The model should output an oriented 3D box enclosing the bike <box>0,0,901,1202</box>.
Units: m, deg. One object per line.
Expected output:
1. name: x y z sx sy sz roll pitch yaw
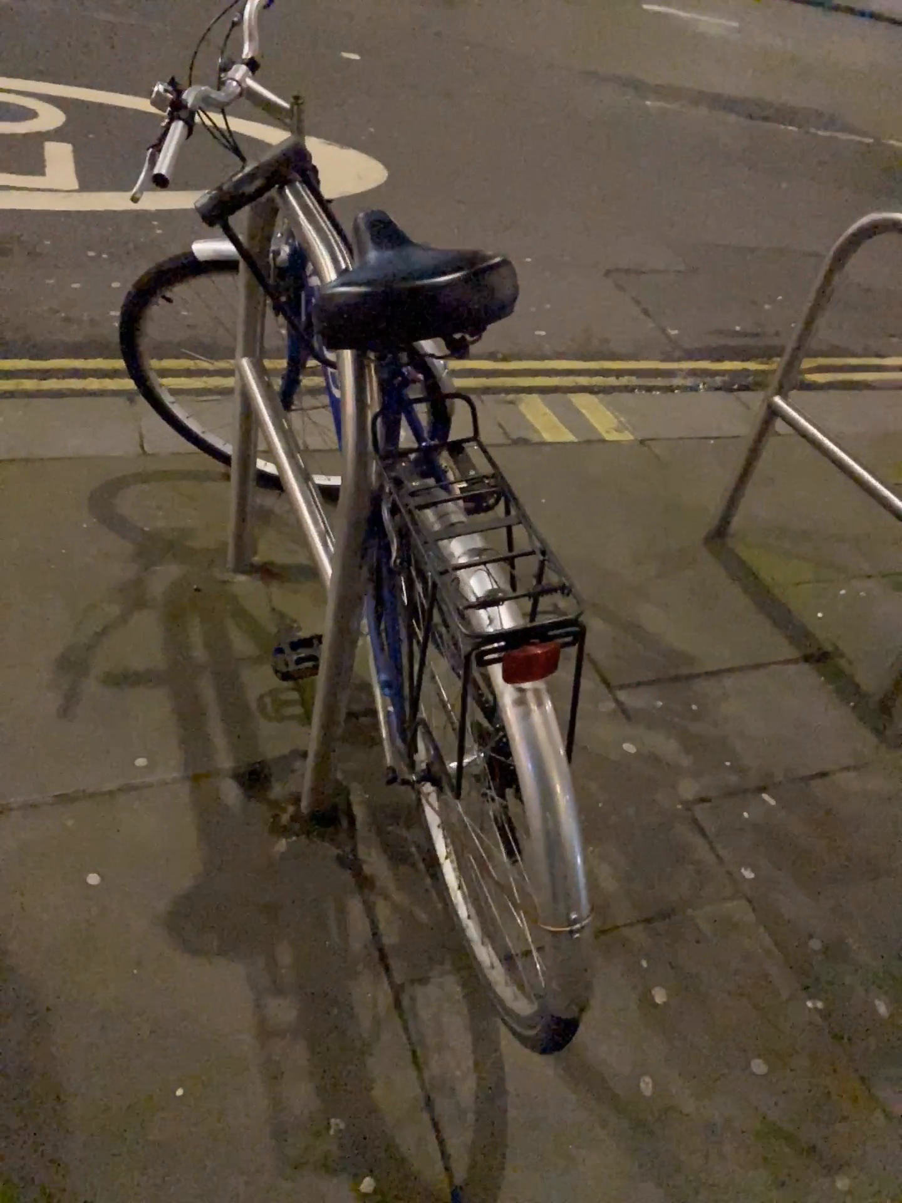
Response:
1. bike: -0.259 -0.235 1.269 0.657 1.108 1.600 -13 48 -28
